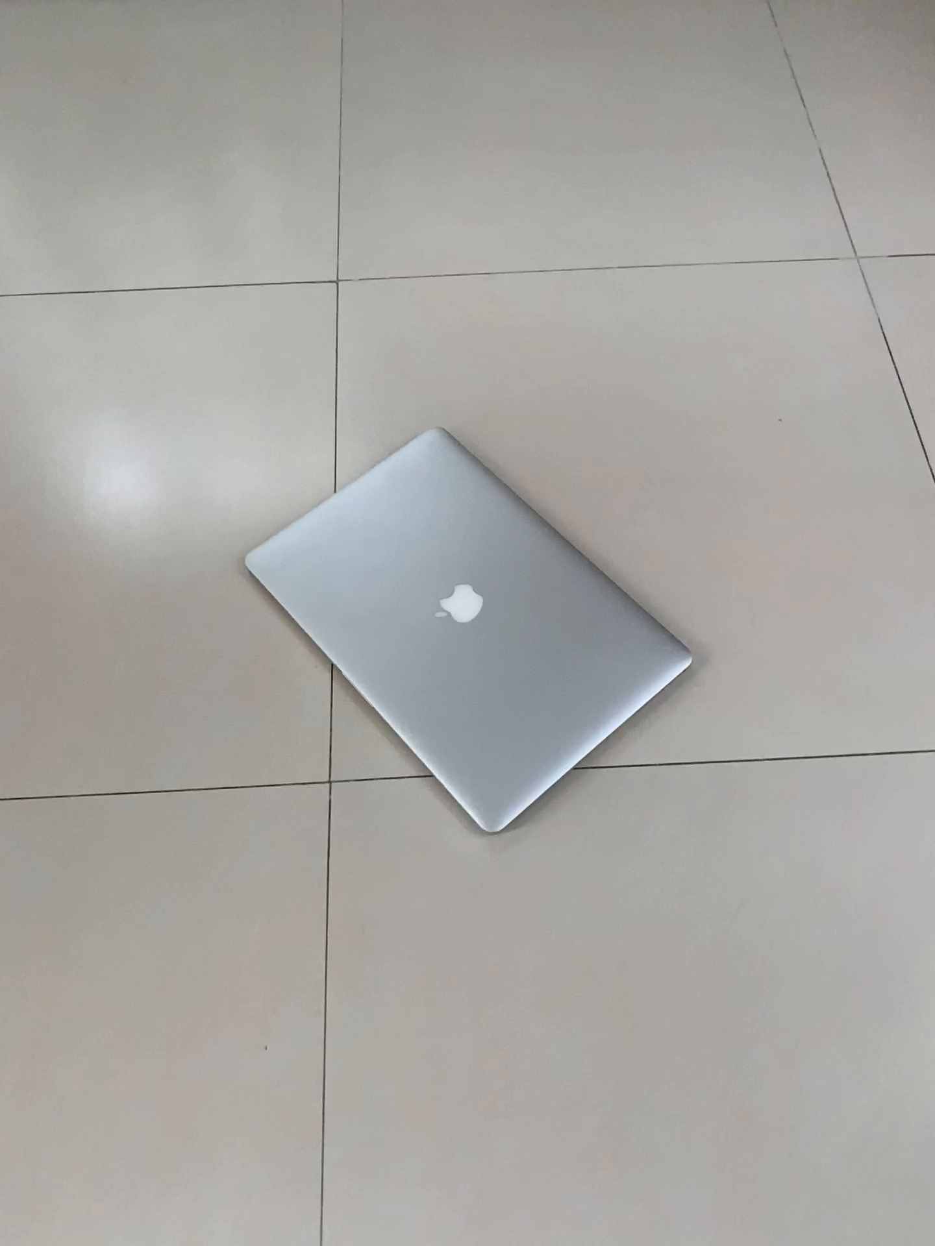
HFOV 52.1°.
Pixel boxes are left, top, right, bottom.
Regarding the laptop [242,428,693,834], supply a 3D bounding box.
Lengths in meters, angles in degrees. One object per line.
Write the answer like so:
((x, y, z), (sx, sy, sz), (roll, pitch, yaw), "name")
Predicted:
((-0.007, -0.015, 0.878), (0.239, 0.001, 0.356), (-38, 67, -18), "laptop")
